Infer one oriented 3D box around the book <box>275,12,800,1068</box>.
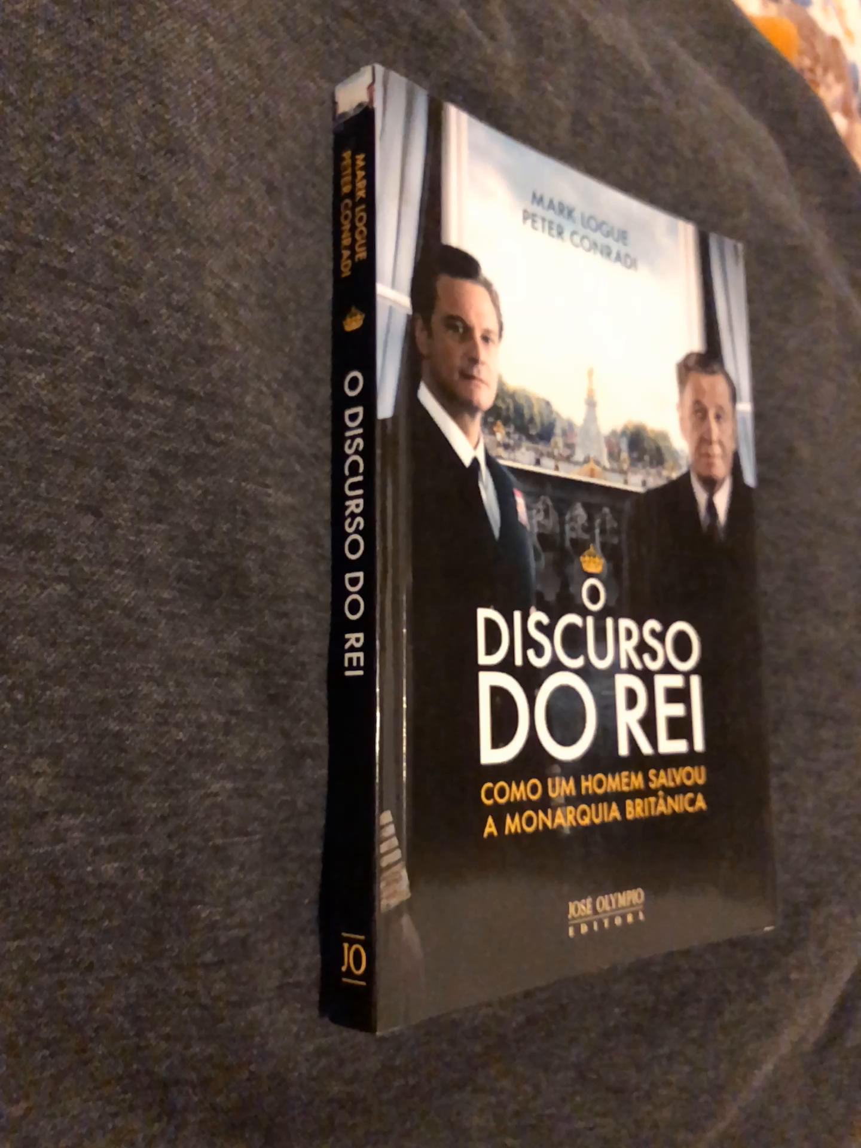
[{"bbox_3d":[0.036,-0.009,0.268,0.161,0.030,0.230,6,78,-38],"label":"book"}]
